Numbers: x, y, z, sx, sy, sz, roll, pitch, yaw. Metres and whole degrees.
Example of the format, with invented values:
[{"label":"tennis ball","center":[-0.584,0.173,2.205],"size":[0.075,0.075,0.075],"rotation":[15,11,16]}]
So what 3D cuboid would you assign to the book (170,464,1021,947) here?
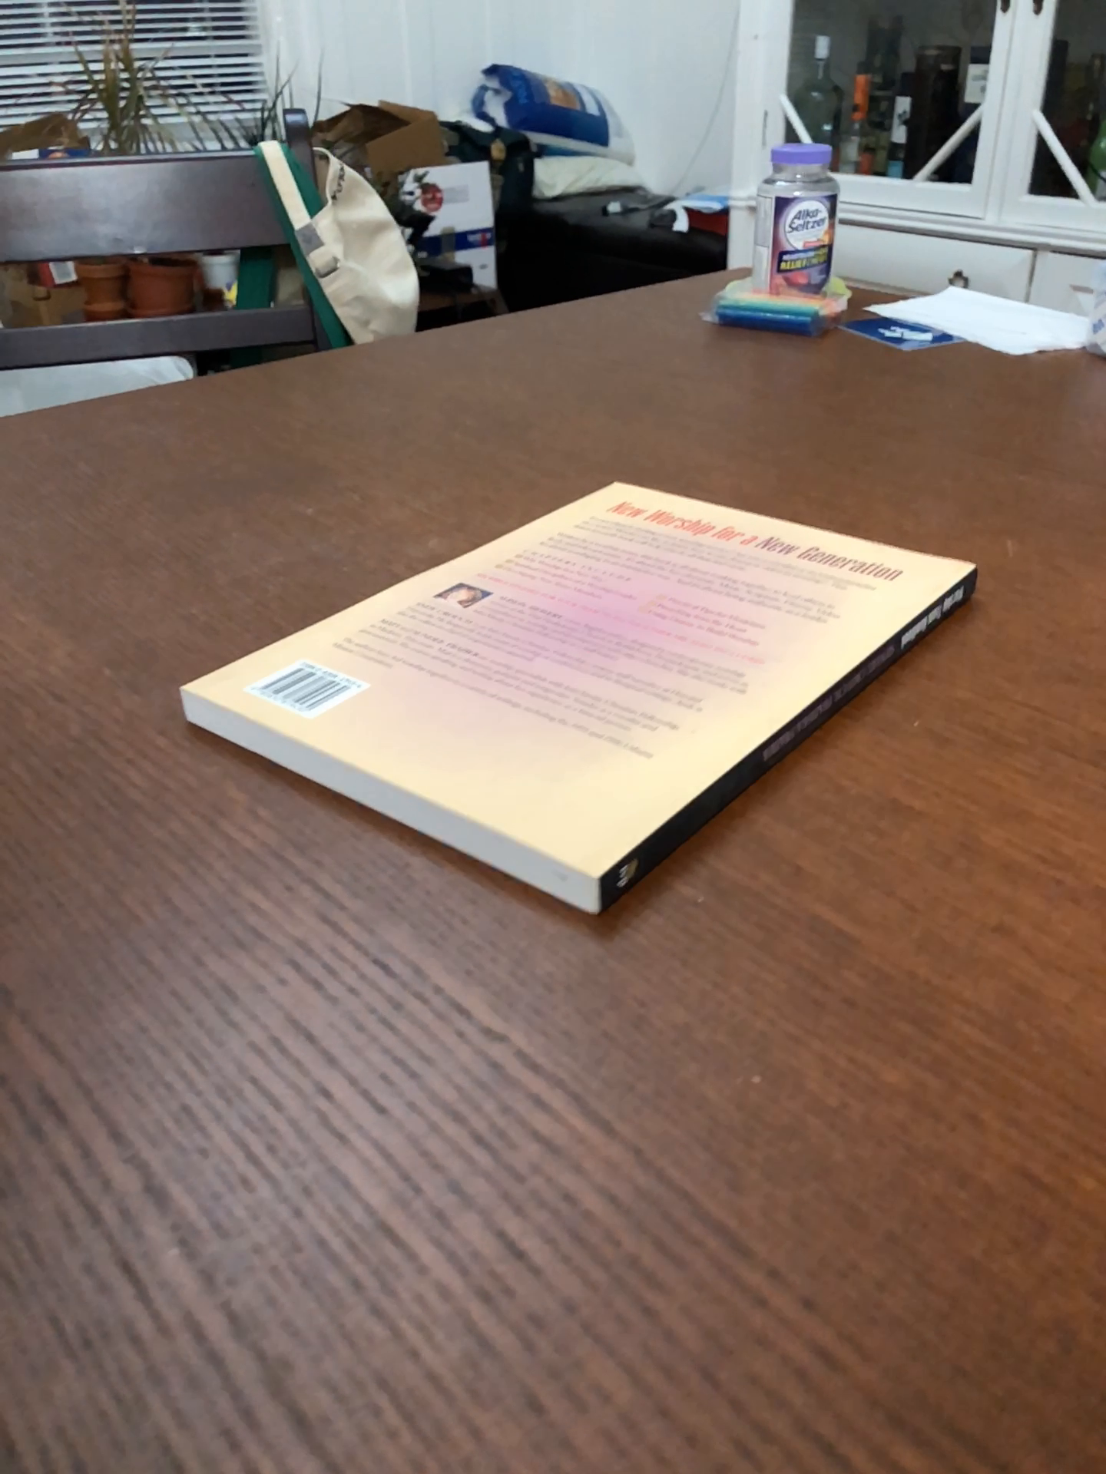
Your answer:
[{"label":"book","center":[0.030,-0.039,0.454],"size":[0.190,0.020,0.271],"rotation":[21,37,33]}]
